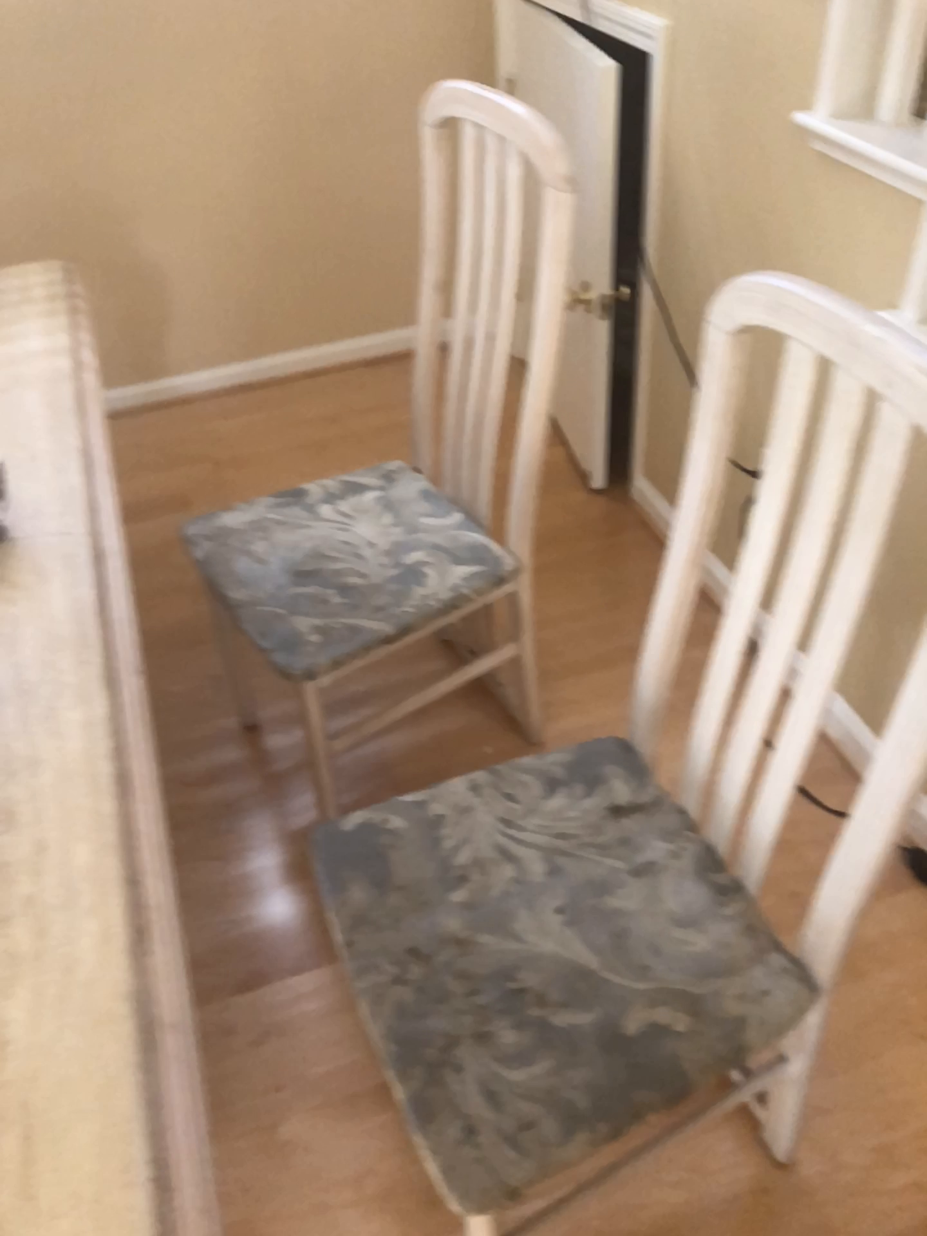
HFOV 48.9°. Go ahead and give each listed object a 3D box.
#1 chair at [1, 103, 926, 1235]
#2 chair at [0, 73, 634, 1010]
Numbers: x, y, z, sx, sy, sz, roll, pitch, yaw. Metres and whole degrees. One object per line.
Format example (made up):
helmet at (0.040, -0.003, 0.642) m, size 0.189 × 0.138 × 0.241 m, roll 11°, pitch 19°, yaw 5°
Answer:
chair at (0.048, 0.212, 0.998) m, size 0.561 × 1.141 × 0.483 m, roll -17°, pitch 42°, yaw -16°
chair at (-0.144, -0.054, 1.464) m, size 0.562 × 1.141 × 0.482 m, roll -22°, pitch 44°, yaw -18°
